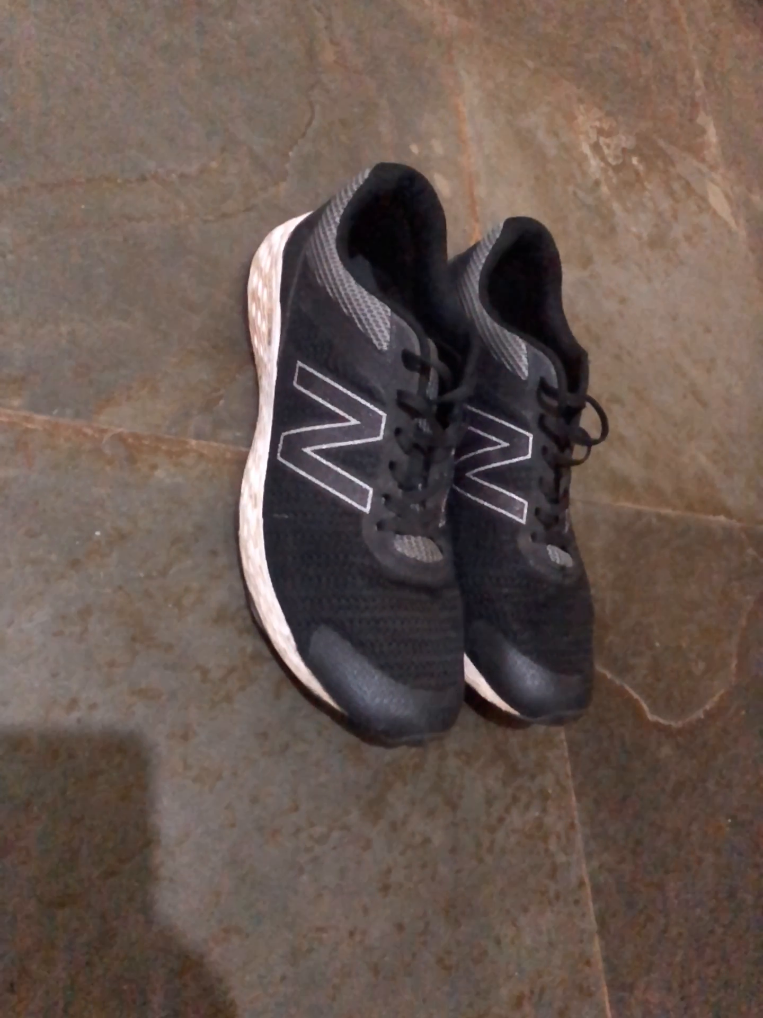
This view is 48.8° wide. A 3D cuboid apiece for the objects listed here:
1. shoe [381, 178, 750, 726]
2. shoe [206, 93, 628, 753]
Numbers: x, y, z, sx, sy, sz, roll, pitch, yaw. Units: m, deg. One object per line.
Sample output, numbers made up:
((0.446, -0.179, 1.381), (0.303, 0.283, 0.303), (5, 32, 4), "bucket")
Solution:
((0.093, -0.026, 0.461), (0.111, 0.099, 0.260), (3, 71, -38), "shoe")
((0.008, -0.033, 0.392), (0.121, 0.099, 0.260), (3, 71, -38), "shoe")
